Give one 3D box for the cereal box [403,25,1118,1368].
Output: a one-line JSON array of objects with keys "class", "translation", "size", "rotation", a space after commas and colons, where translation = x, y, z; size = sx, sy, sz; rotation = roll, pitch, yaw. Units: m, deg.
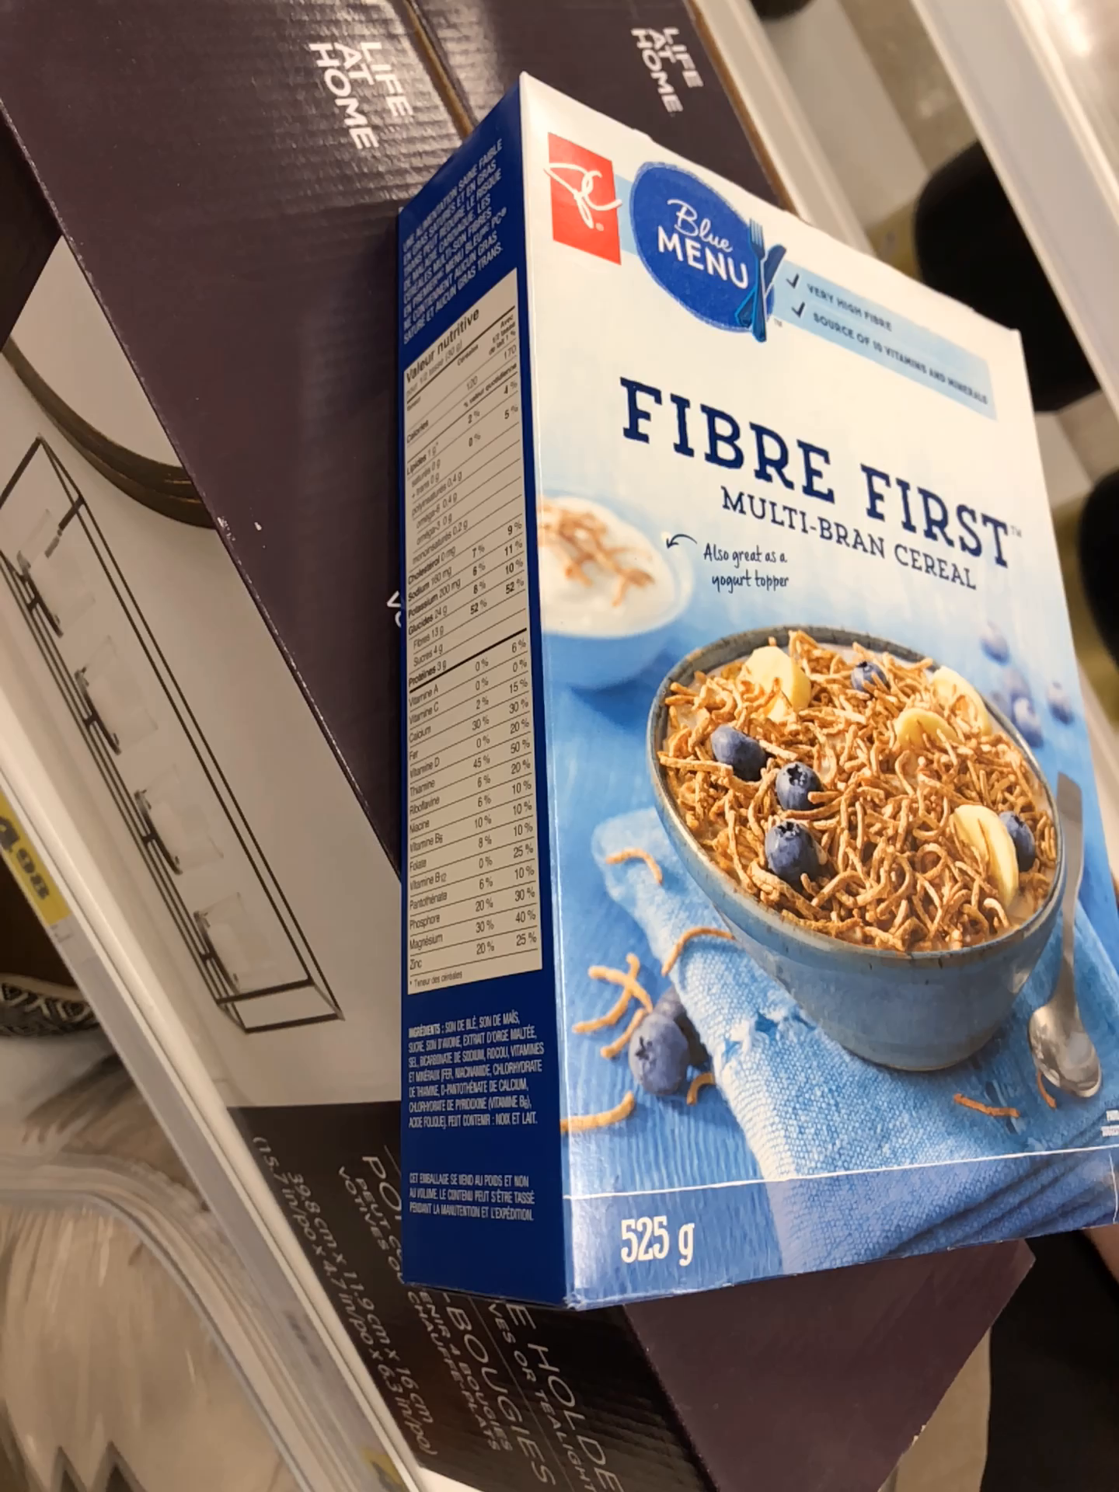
[{"class": "cereal box", "translation": [0.064, -0.008, 0.313], "size": [0.201, 0.060, 0.260], "rotation": [9, 71, -35]}]
